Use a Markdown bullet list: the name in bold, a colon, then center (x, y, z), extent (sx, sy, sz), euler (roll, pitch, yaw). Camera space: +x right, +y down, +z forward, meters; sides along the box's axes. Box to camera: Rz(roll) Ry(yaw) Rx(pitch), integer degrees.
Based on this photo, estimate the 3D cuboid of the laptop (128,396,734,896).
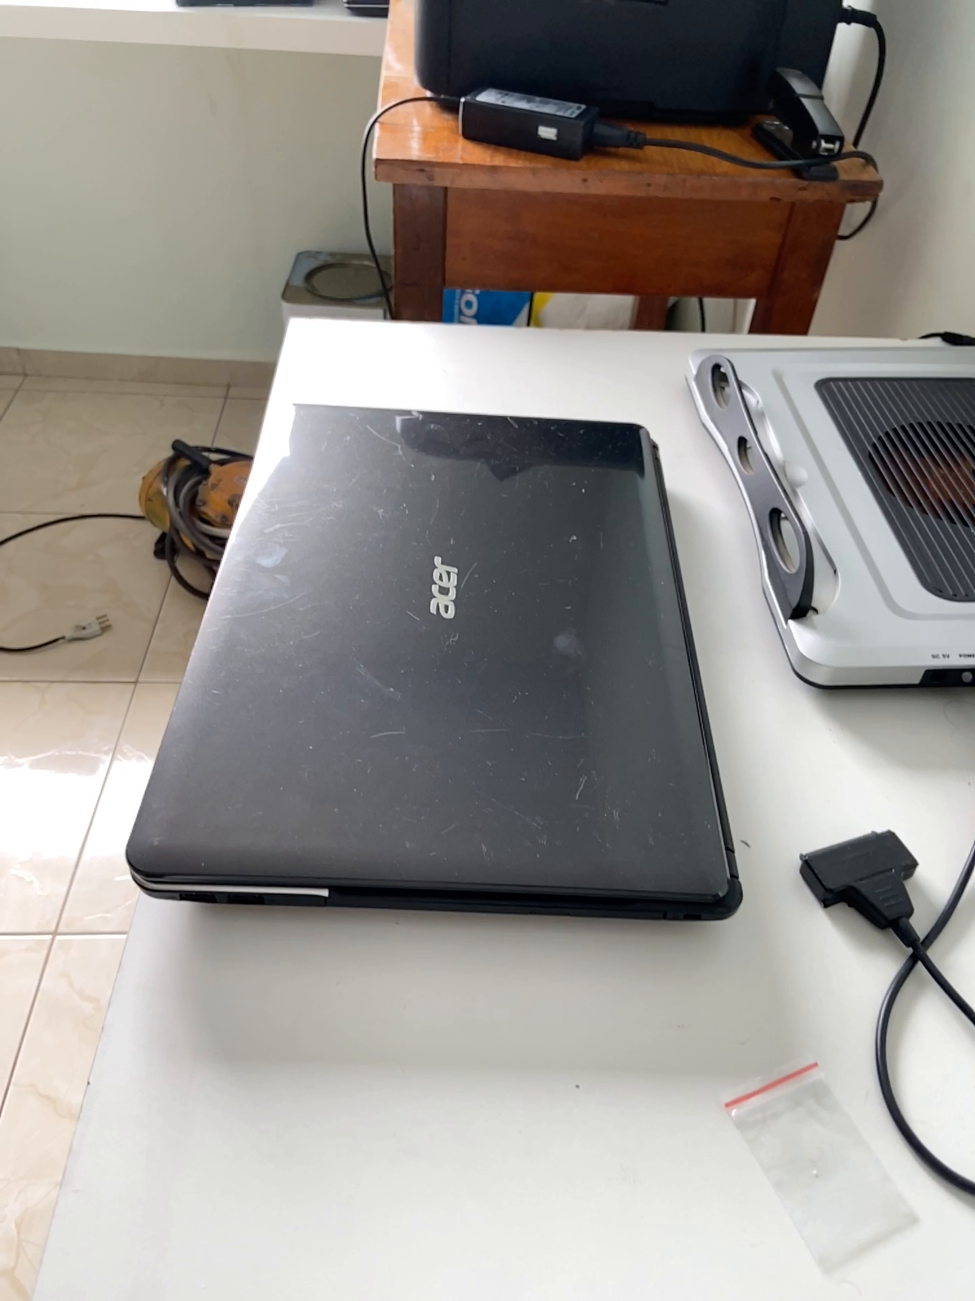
- **laptop**: center (-0.017, -0.031, 0.502), extent (0.230, 0.005, 0.337), euler (3, 44, -2)
